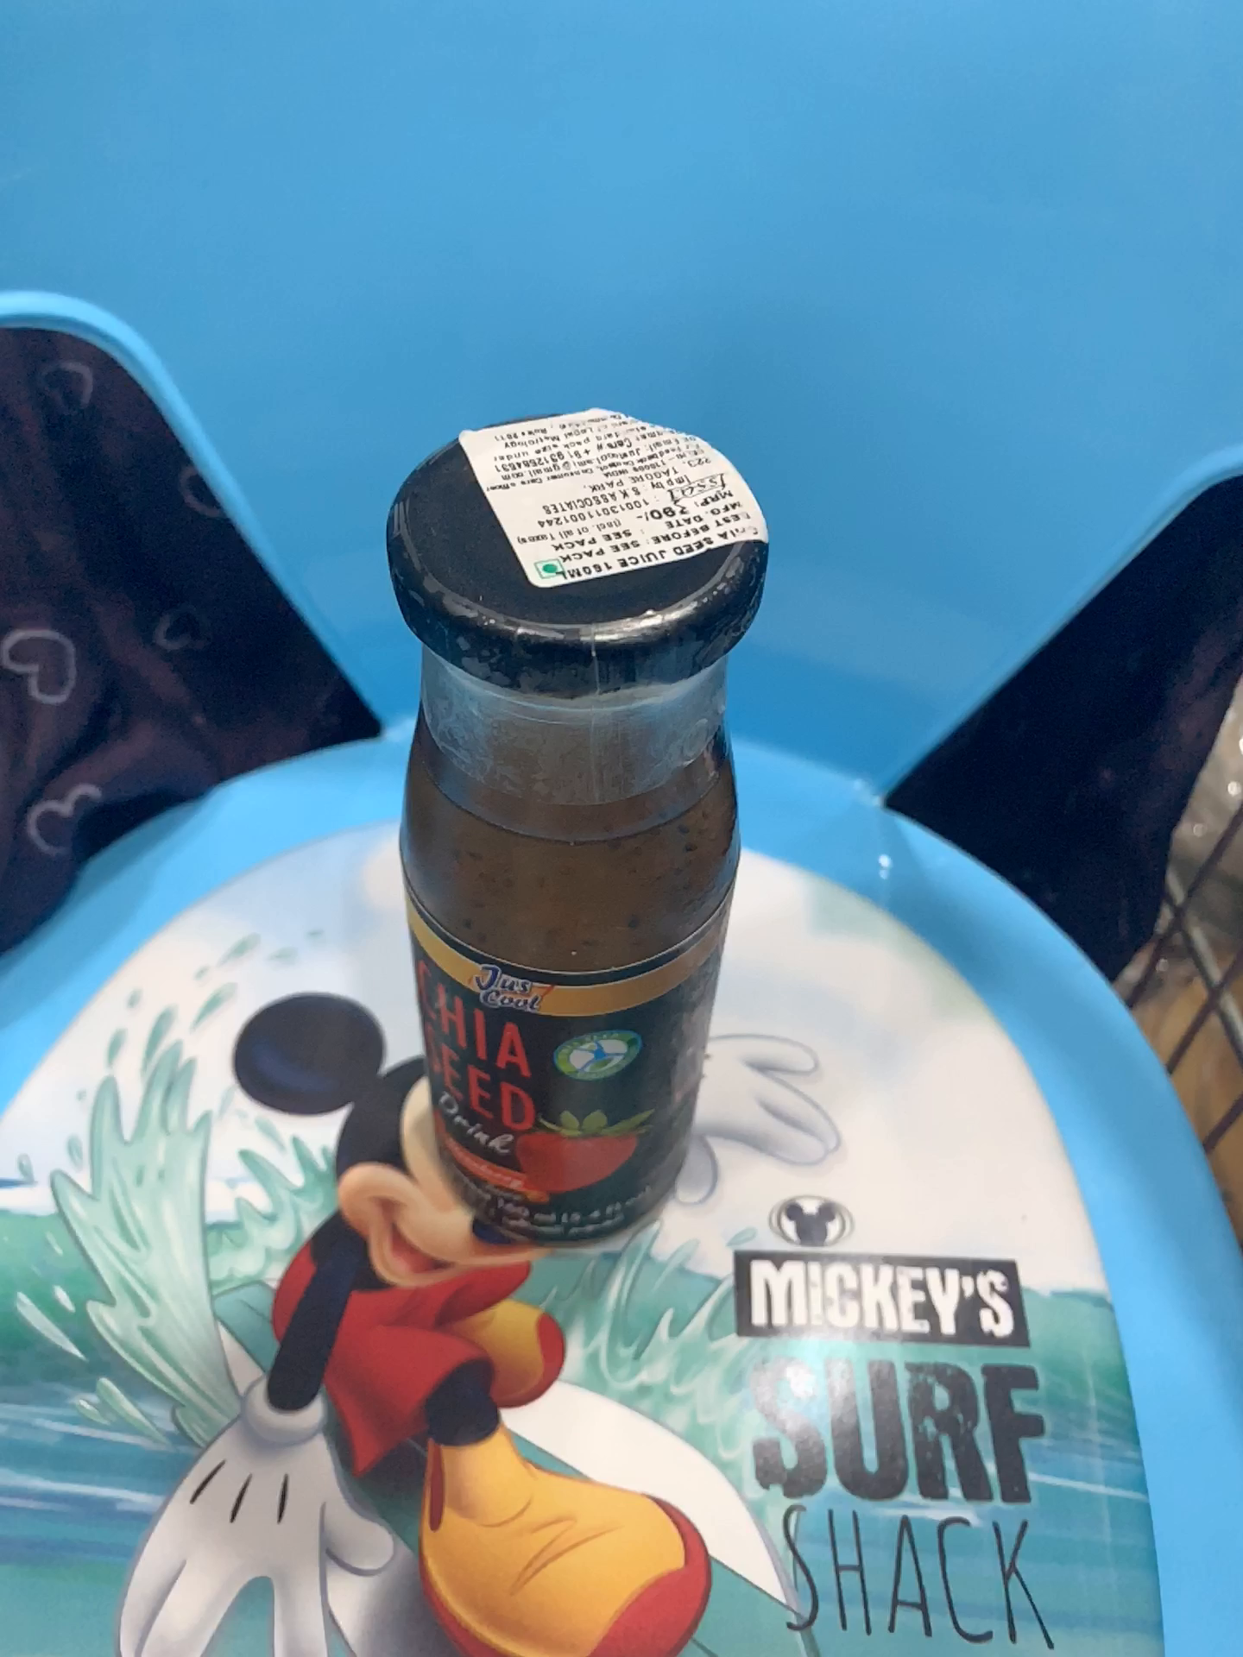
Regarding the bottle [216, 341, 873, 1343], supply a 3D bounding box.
[{"bbox_3d":[-0.010,0.010,0.183,0.050,0.130,0.050,2,44,-2],"label":"bottle"}]
